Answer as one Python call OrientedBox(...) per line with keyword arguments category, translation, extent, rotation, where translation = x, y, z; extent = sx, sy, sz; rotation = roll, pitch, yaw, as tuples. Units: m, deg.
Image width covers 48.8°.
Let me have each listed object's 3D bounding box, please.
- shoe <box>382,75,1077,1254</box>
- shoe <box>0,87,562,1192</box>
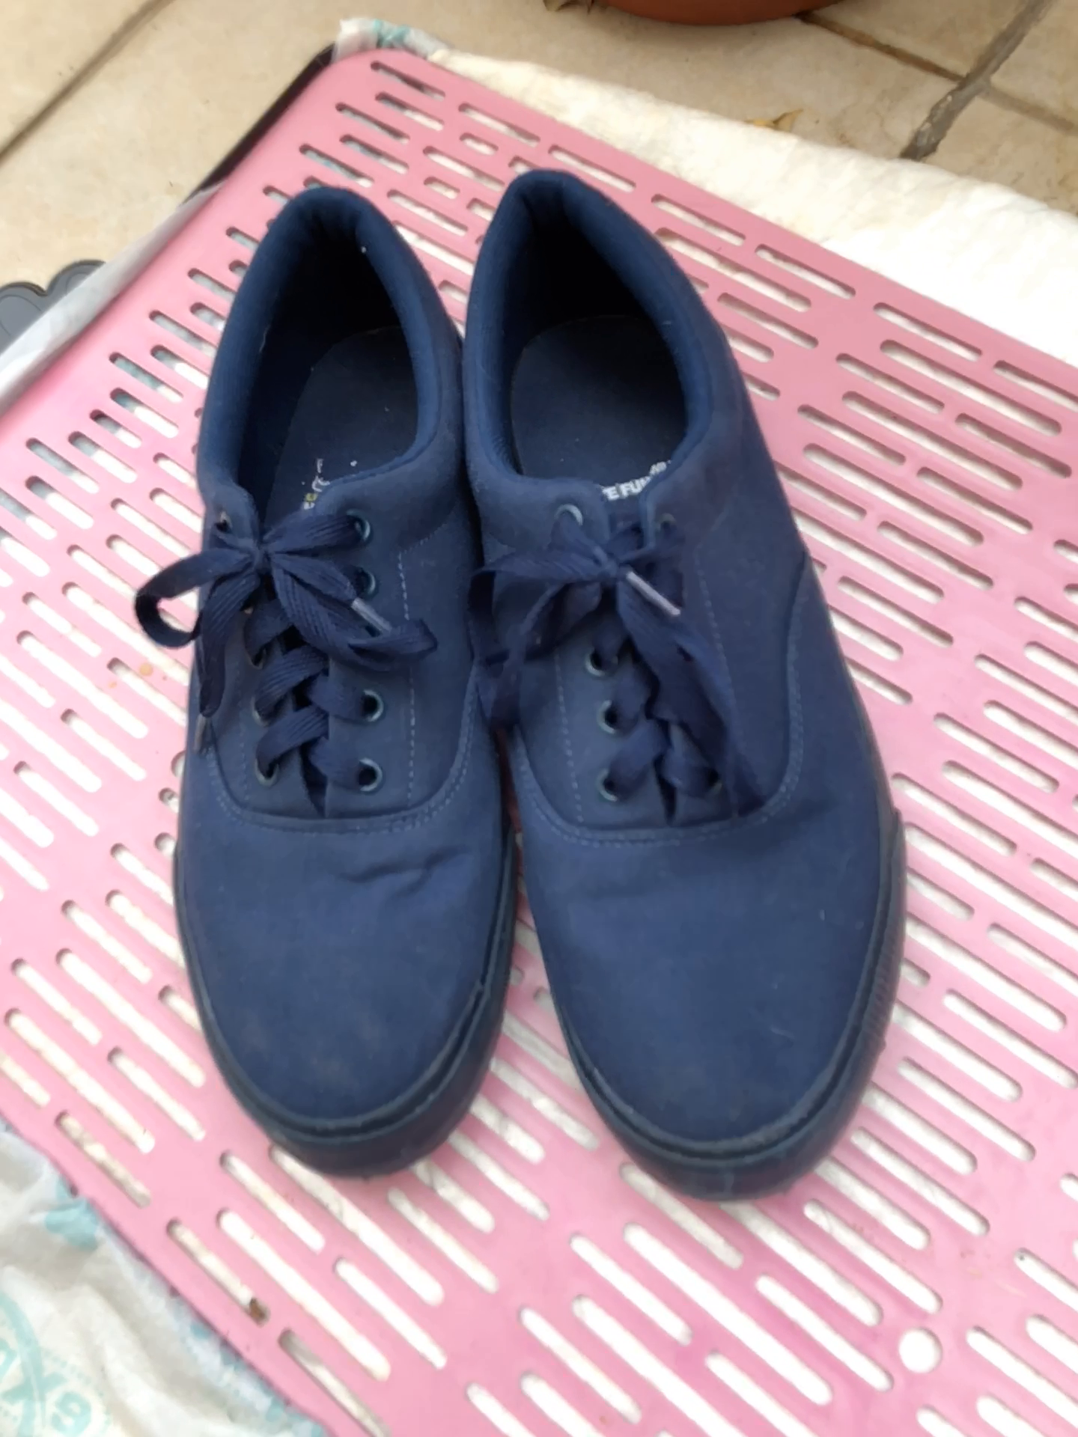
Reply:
OrientedBox(category="shoe", translation=(0.036, -0.017, 0.312), extent=(0.107, 0.100, 0.271), rotation=(-10, 69, 5))
OrientedBox(category="shoe", translation=(-0.058, -0.020, 0.321), extent=(0.107, 0.100, 0.271), rotation=(-4, 69, 7))
